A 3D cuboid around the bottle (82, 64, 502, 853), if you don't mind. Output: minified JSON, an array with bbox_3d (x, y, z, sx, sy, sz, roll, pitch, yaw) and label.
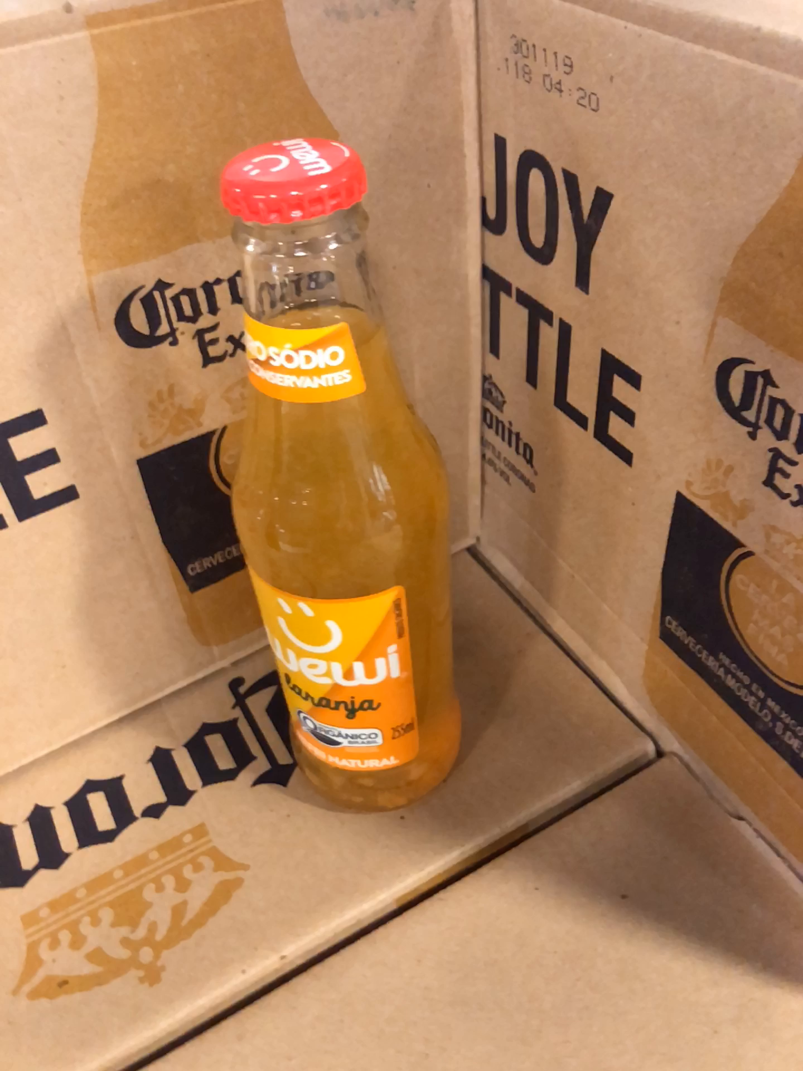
[{"bbox_3d":[-0.012,-0.003,0.242,0.060,0.208,0.060,-2,42,2],"label":"bottle"}]
